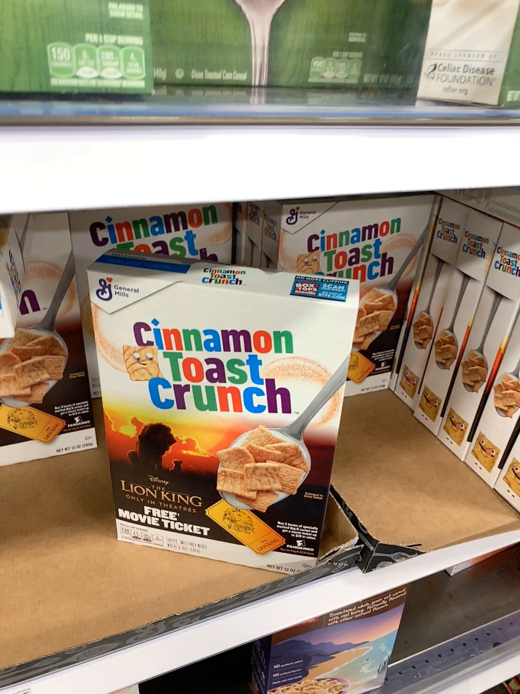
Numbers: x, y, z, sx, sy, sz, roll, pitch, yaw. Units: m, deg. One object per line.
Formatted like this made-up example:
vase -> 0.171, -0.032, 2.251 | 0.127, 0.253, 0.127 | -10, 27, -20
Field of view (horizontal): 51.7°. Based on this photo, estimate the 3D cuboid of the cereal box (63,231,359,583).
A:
cereal box -> -0.036, 0.060, 0.436 | 0.190, 0.279, 0.060 | 8, 32, 8
